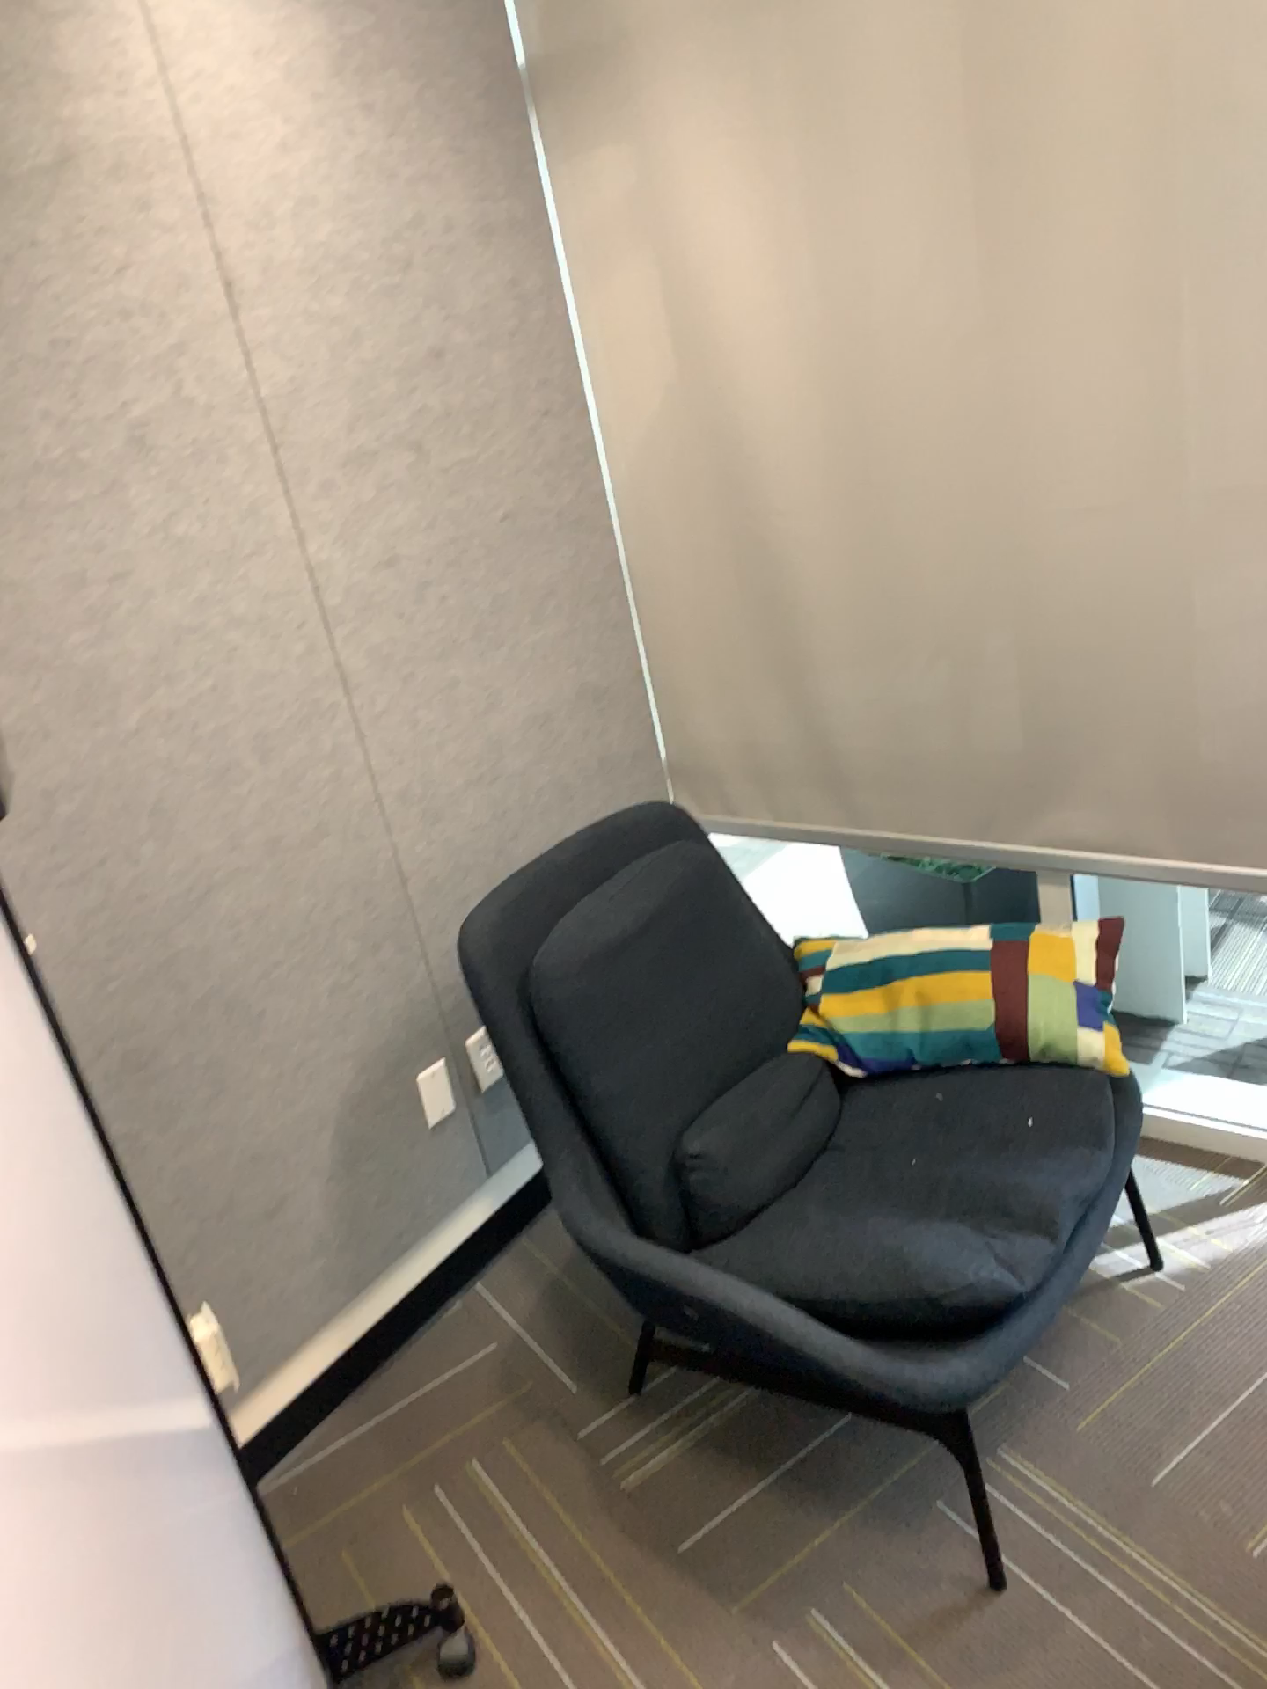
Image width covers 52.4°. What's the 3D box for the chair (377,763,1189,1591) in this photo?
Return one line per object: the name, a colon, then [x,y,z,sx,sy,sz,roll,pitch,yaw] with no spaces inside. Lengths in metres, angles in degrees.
chair: [0.272,0.430,2.212,1.005,0.816,0.790,10,31,44]
